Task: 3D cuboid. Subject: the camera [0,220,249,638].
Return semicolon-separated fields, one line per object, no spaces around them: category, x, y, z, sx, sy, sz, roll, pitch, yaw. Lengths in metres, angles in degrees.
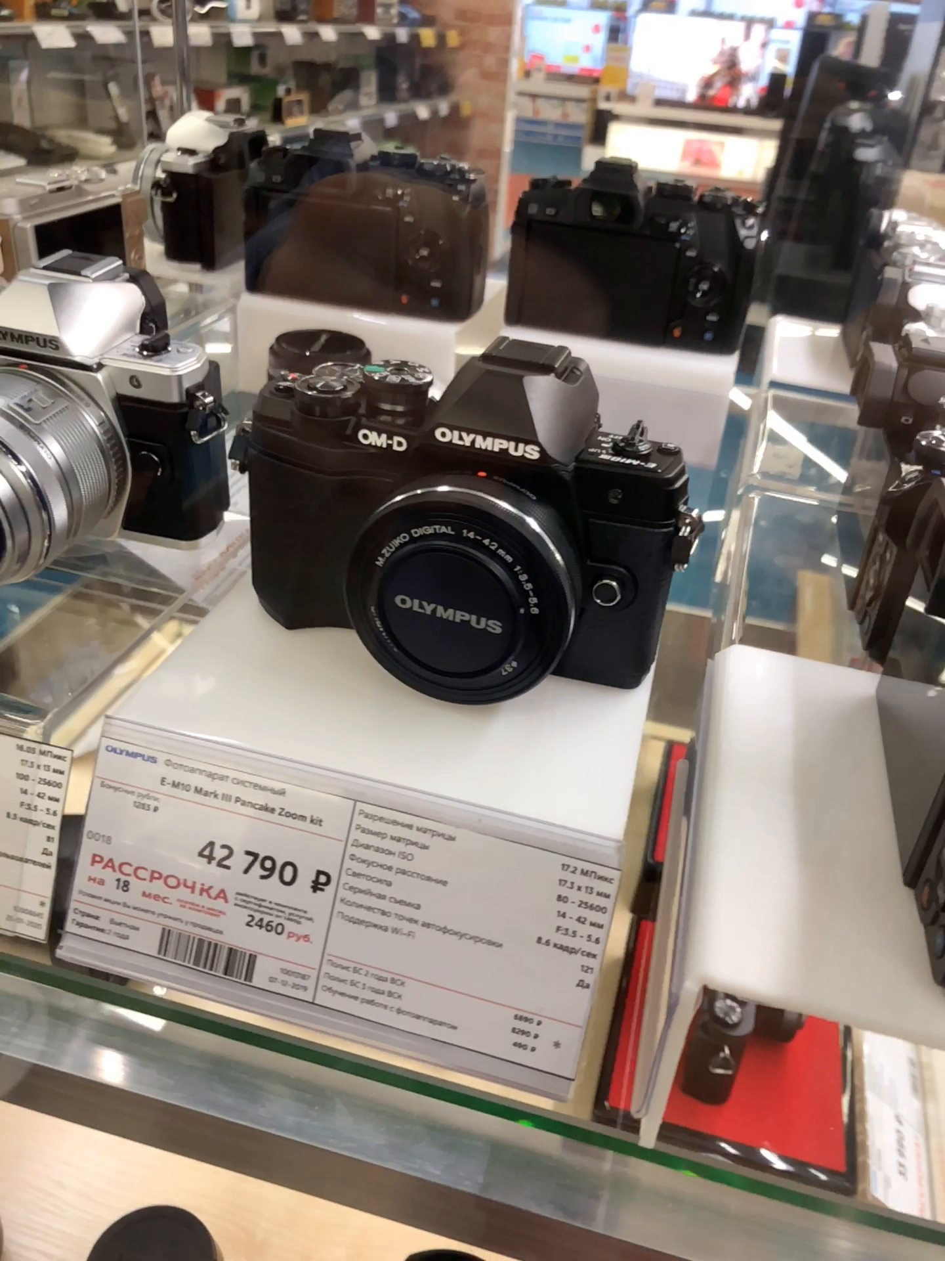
camera;-0.141;-0.067;0.314;0.112;0.080;0.094;13;31;13

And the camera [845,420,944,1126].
camera;0.142;0.017;0.226;0.094;0.074;0.124;11;31;10

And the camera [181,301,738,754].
camera;-0.003;-0.033;0.289;0.129;0.082;0.064;13;31;13
